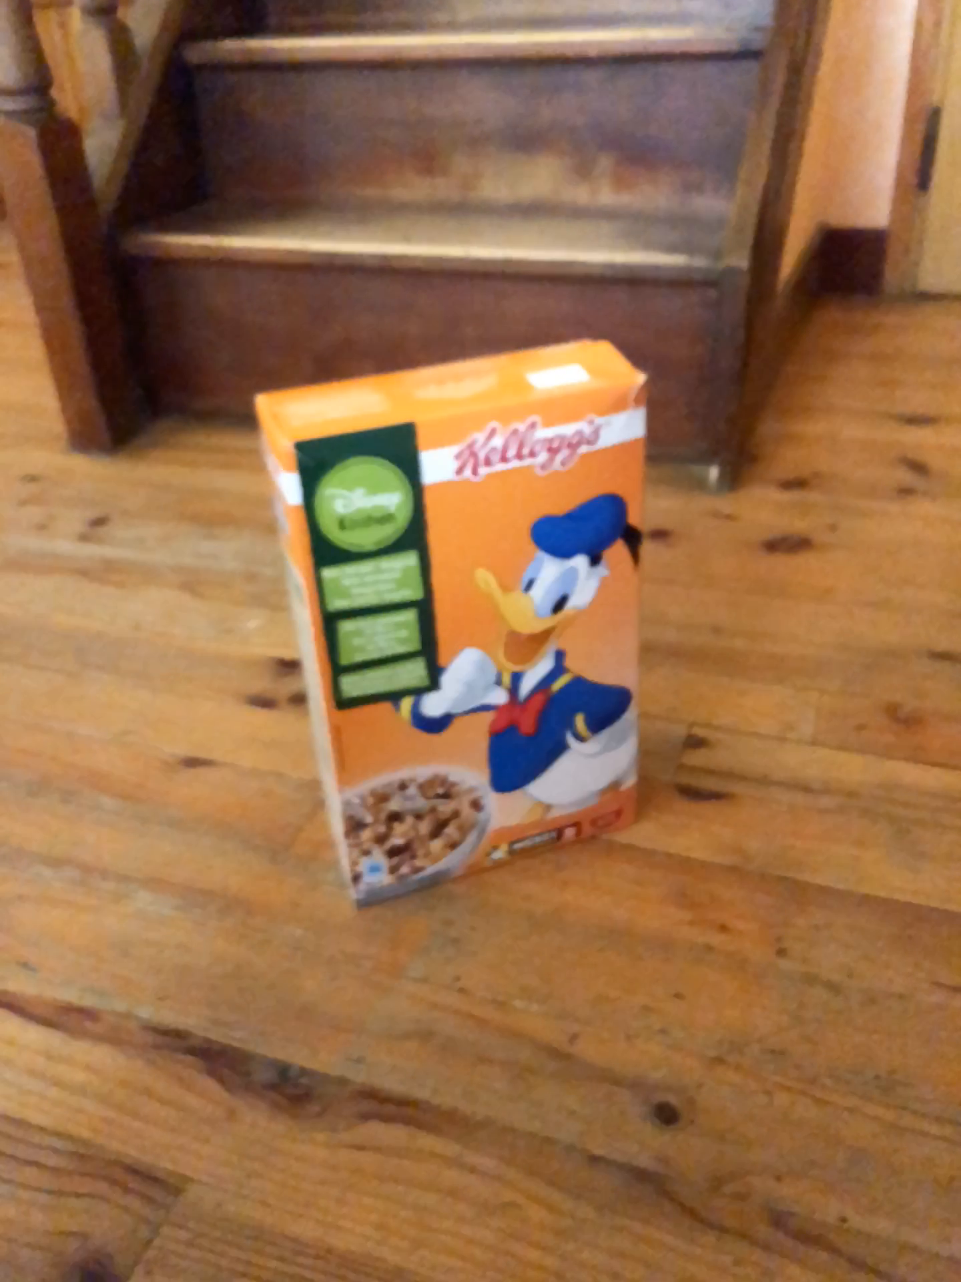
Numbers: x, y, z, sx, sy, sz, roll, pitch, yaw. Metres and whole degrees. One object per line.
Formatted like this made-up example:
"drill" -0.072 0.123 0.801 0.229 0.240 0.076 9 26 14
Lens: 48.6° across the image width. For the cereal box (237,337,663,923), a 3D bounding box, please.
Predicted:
"cereal box" -0.010 -0.003 0.621 0.200 0.298 0.090 -13 32 -16
